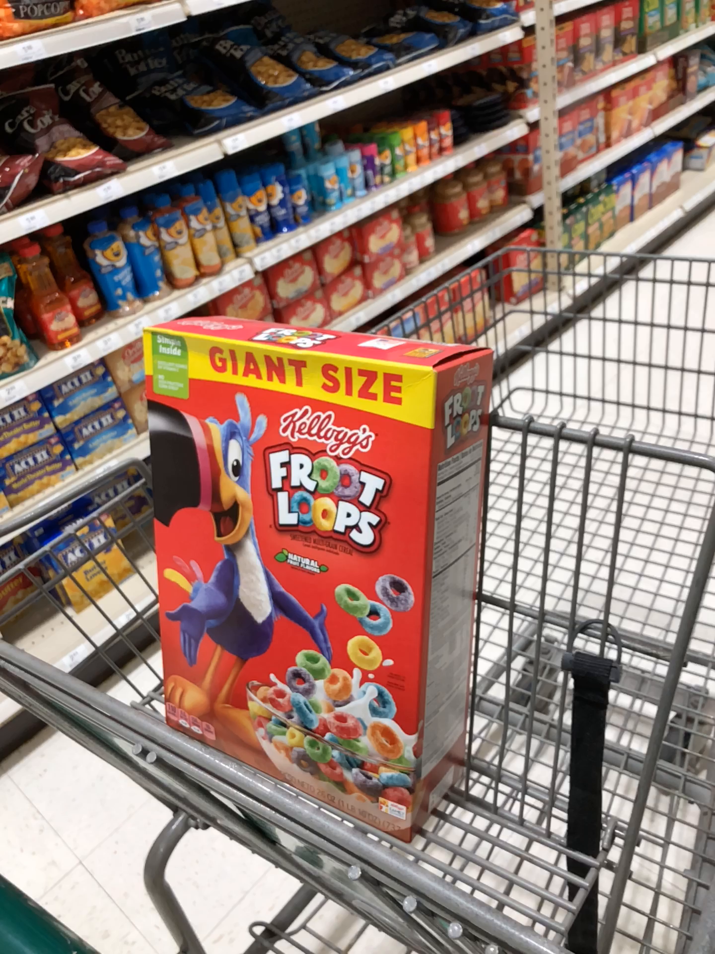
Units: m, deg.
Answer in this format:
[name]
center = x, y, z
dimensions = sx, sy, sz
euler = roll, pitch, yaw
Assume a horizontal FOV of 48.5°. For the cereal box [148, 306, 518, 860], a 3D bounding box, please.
[cereal box]
center = -0.031, 0.068, 0.626
dimensions = 0.261, 0.369, 0.090
euler = 13, 21, 31
